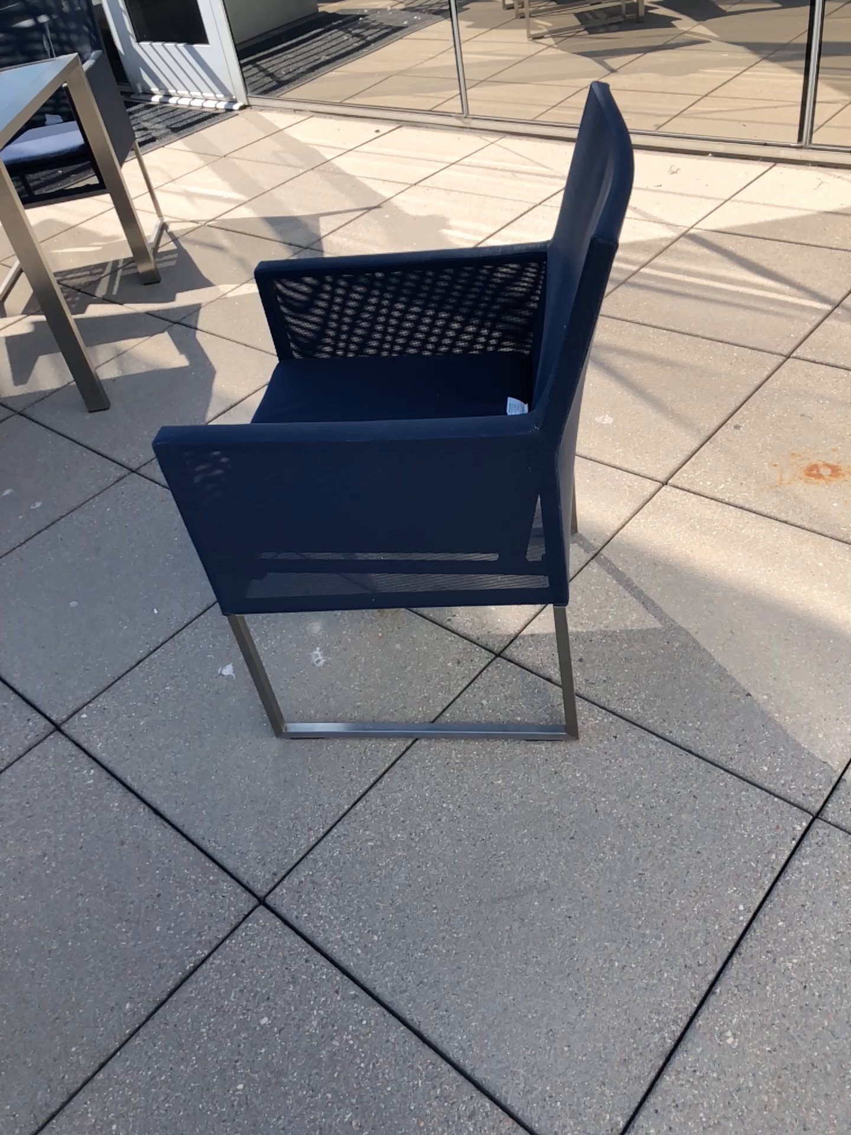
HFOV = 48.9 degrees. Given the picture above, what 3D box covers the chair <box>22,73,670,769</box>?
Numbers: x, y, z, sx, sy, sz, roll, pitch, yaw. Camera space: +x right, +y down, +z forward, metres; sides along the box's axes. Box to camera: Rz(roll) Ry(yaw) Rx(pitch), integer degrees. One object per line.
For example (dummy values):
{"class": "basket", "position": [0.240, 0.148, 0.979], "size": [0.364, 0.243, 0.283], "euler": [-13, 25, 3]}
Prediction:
{"class": "chair", "position": [-0.009, -0.199, 1.430], "size": [0.670, 0.776, 0.653], "euler": [-2, 41, 10]}
